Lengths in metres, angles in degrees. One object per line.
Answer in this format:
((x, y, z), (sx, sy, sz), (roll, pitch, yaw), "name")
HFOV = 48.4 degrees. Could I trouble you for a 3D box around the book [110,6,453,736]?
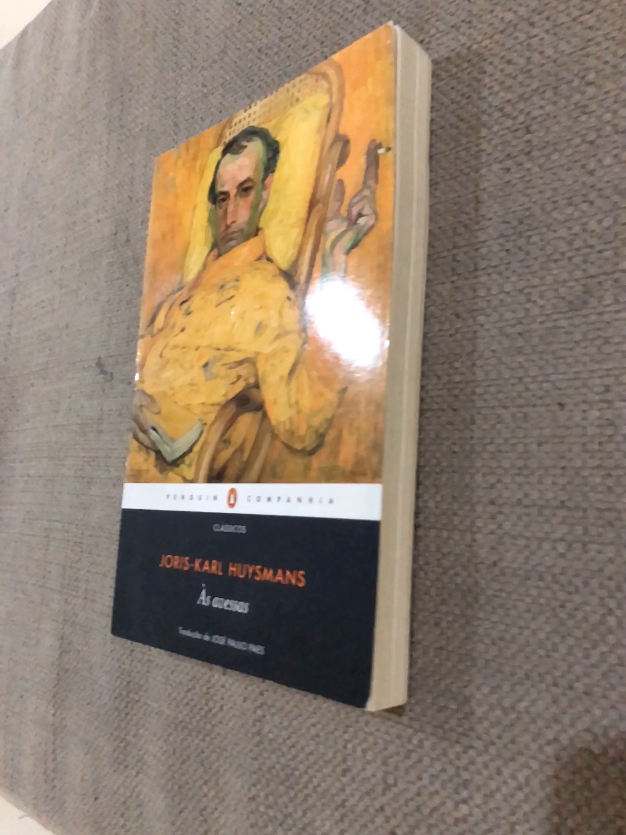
((-0.017, -0.014, 0.237), (0.131, 0.023, 0.195), (-4, 80, 45), "book")
